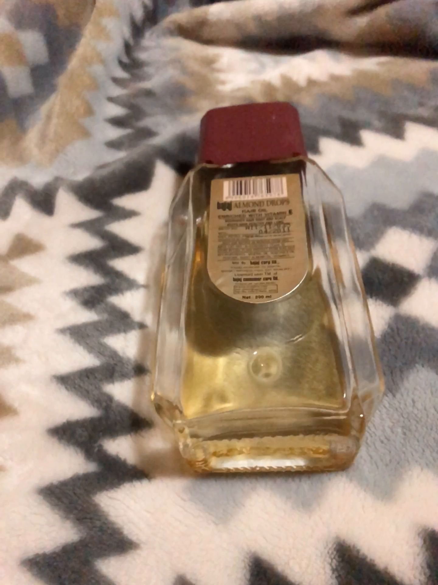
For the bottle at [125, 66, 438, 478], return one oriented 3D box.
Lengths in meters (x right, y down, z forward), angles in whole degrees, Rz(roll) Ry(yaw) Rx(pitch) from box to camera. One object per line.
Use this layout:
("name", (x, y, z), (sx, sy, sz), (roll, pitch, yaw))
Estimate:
("bottle", (0.017, -0.027, 0.204), (0.080, 0.040, 0.190), (-4, 48, 5))
